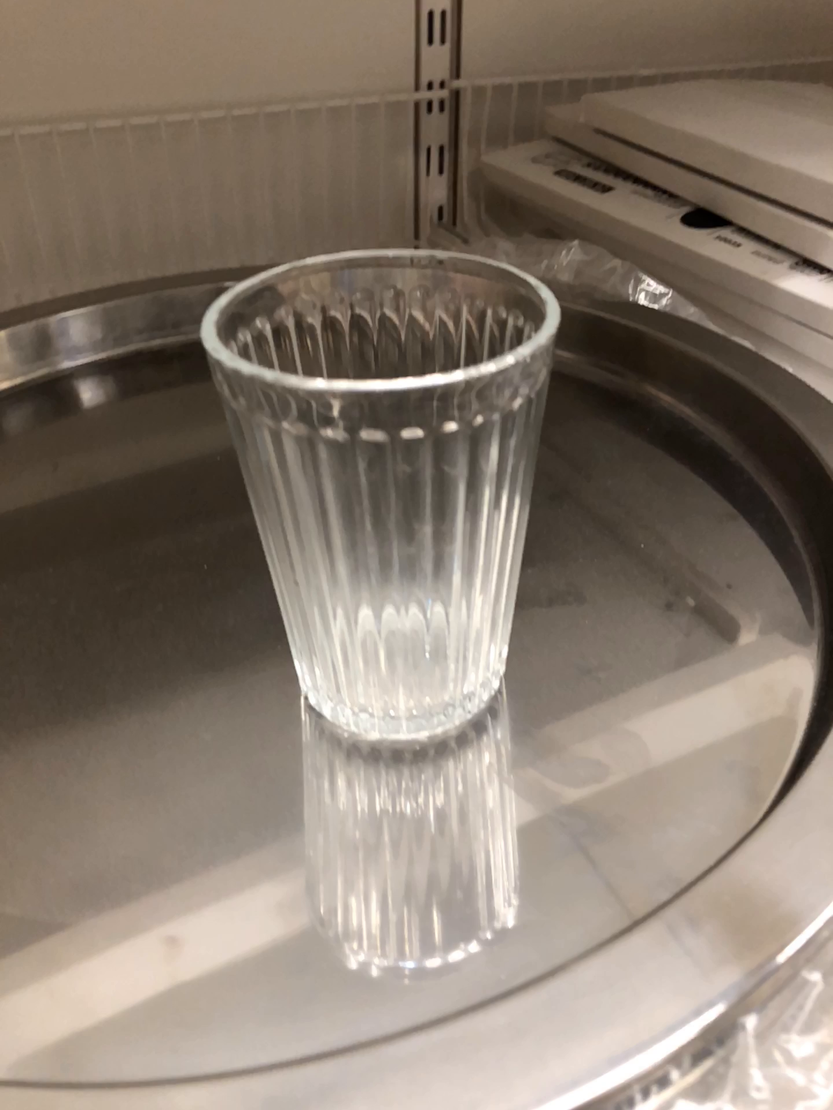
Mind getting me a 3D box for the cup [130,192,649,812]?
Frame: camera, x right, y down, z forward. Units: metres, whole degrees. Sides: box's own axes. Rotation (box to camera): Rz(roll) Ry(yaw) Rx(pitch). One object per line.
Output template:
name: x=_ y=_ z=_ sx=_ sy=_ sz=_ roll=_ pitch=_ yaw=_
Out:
cup: x=-0.002 y=-0.015 z=0.205 sx=0.070 sy=0.100 sz=0.070 roll=-2 pitch=36 yaw=2
